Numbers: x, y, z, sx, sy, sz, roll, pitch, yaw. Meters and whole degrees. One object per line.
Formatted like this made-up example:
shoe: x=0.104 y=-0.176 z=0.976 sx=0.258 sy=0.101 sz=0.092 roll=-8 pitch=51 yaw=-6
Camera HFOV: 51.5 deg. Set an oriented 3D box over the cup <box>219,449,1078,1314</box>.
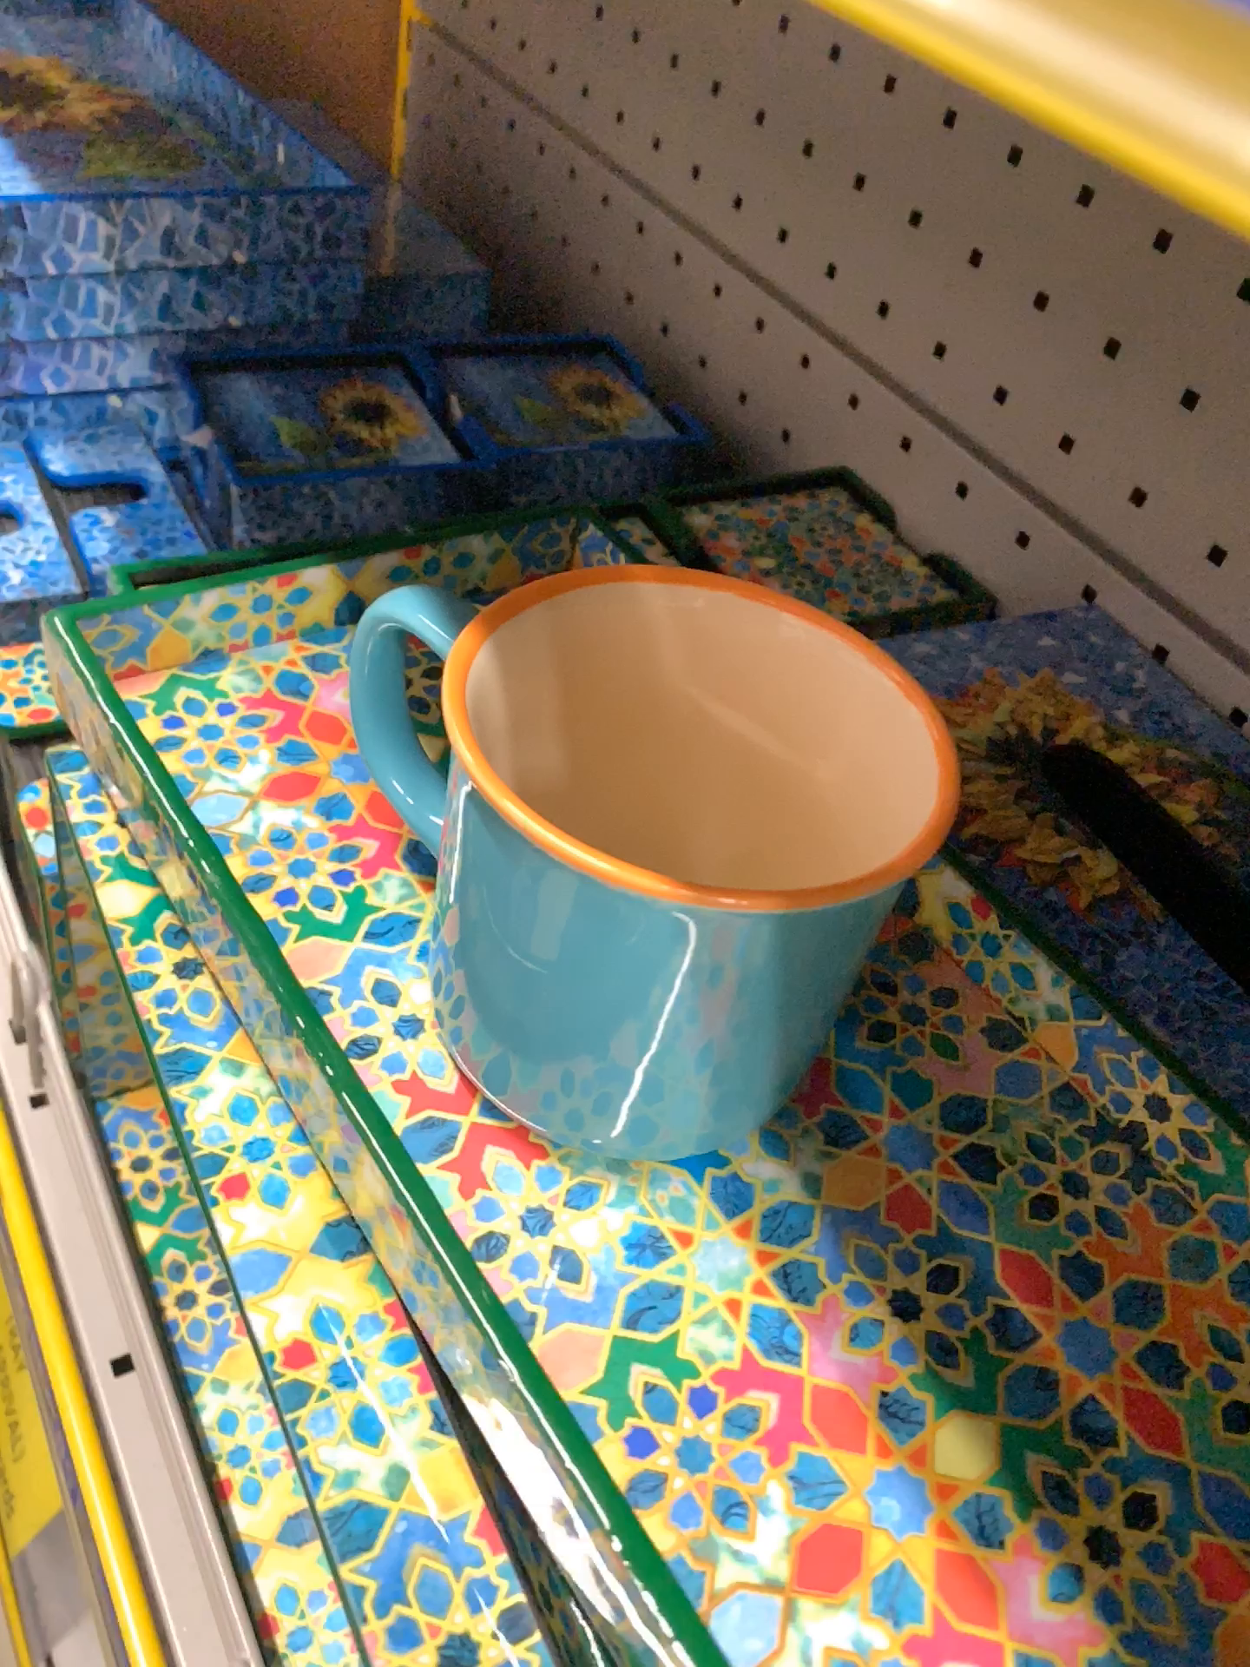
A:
cup: x=-0.004 y=0.000 z=0.245 sx=0.090 sy=0.080 sz=0.120 roll=-27 pitch=57 yaw=-36
